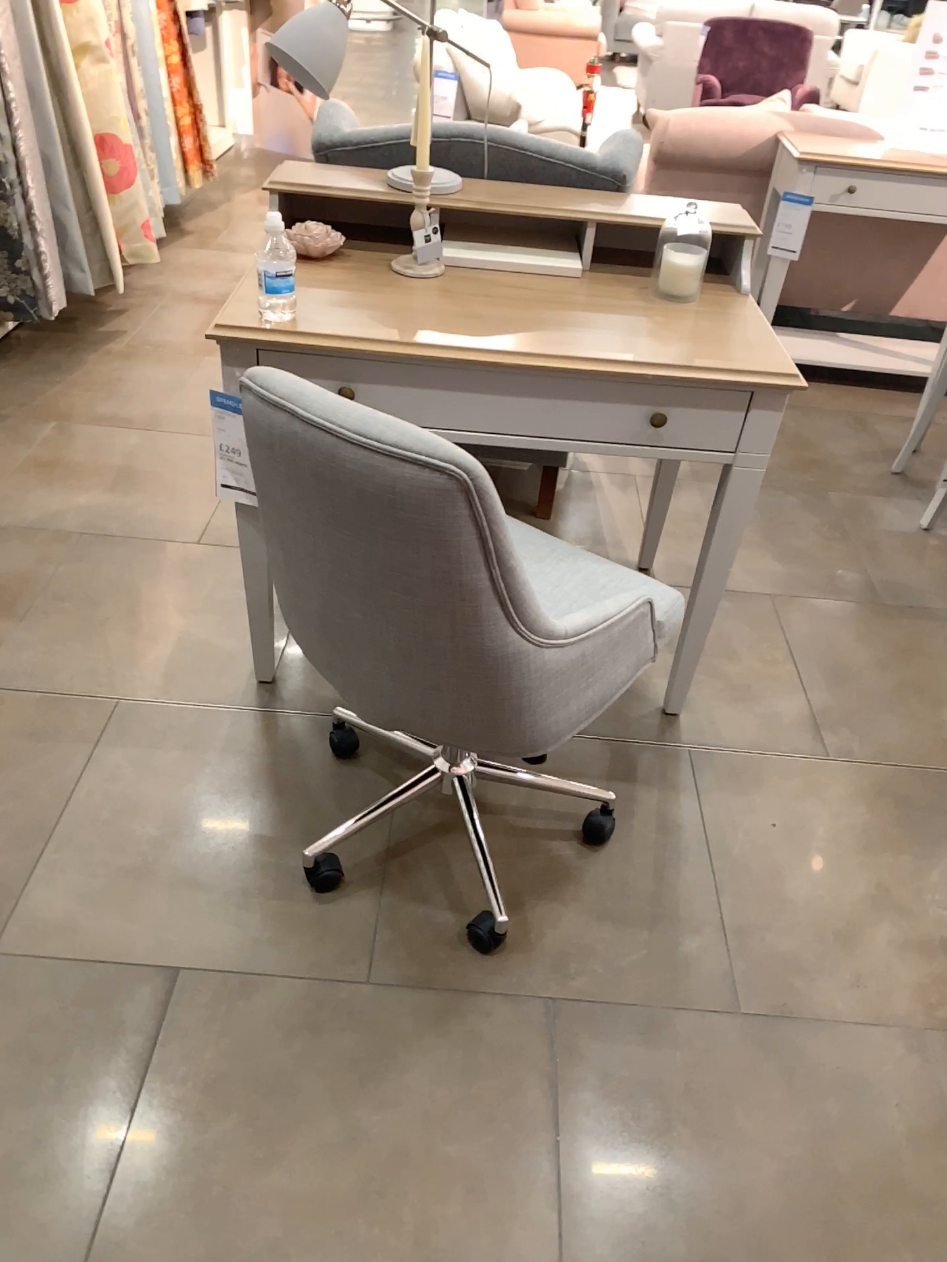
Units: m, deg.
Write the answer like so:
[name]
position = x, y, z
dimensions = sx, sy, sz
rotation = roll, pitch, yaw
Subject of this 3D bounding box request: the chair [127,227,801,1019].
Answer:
[chair]
position = -0.023, -0.049, 1.525
dimensions = 0.626, 0.890, 0.639
rotation = 28, 42, 27
